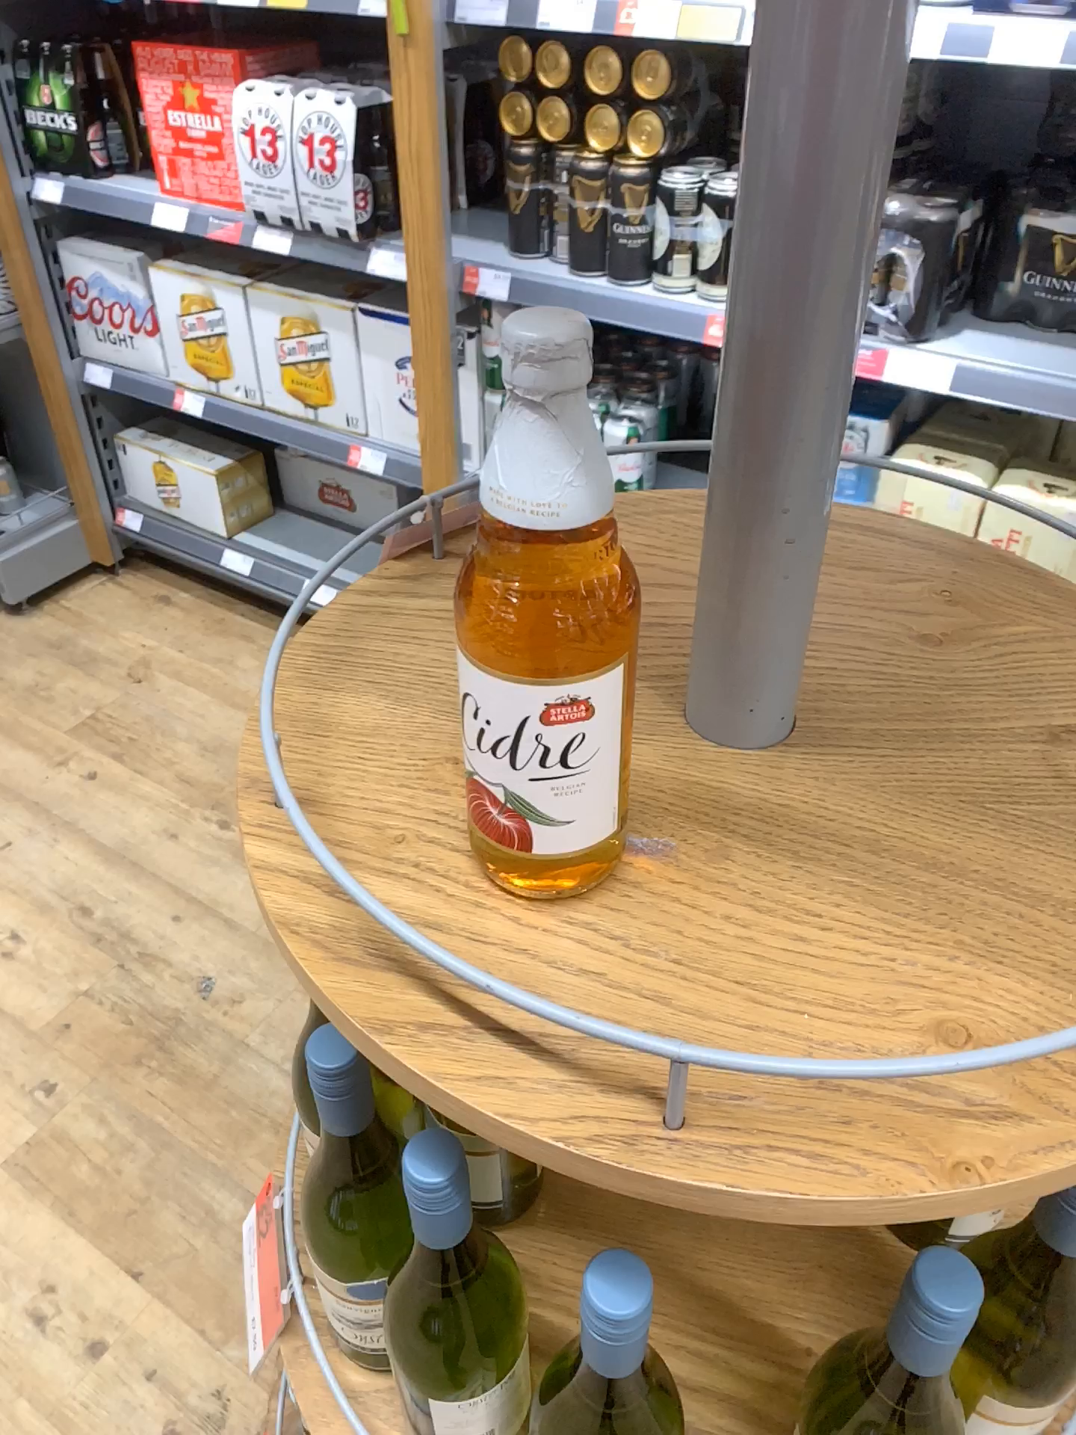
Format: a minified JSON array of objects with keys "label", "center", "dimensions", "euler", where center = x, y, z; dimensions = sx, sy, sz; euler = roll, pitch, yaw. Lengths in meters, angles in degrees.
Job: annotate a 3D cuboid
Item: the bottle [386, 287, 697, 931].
[{"label":"bottle","center":[0.003,-0.031,0.405],"dimensions":[0.069,0.218,0.070],"euler":[0,38,0]}]
